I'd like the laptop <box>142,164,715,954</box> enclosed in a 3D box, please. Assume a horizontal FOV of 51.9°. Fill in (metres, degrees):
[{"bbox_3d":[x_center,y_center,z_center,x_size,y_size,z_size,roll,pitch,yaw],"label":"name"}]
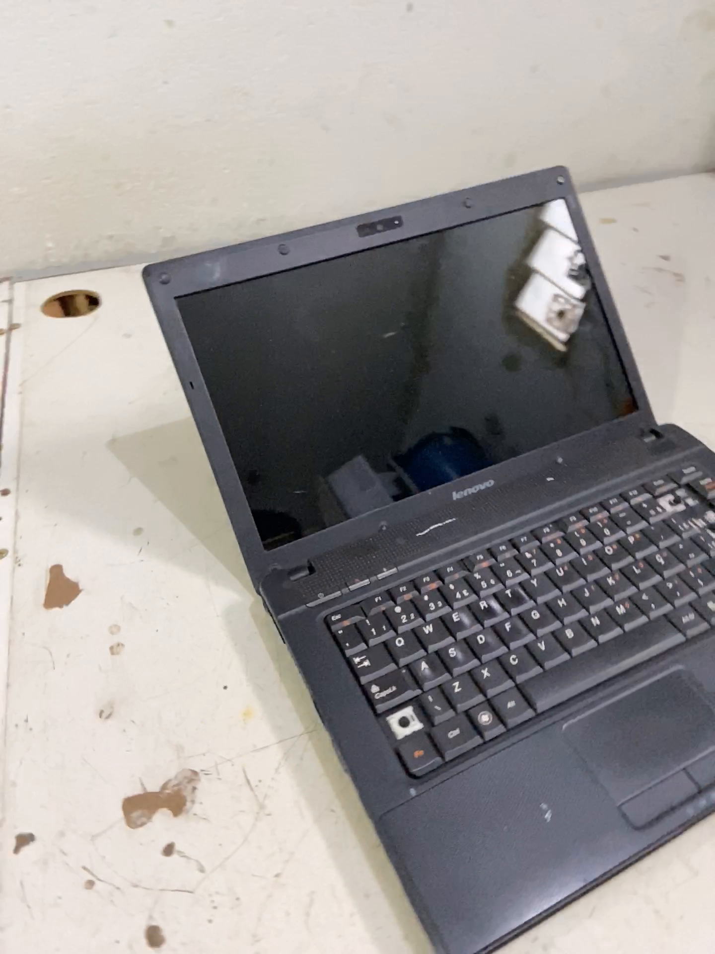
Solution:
[{"bbox_3d":[0.107,-0.024,0.469,0.358,0.147,0.424,-19,46,-18],"label":"laptop"}]
